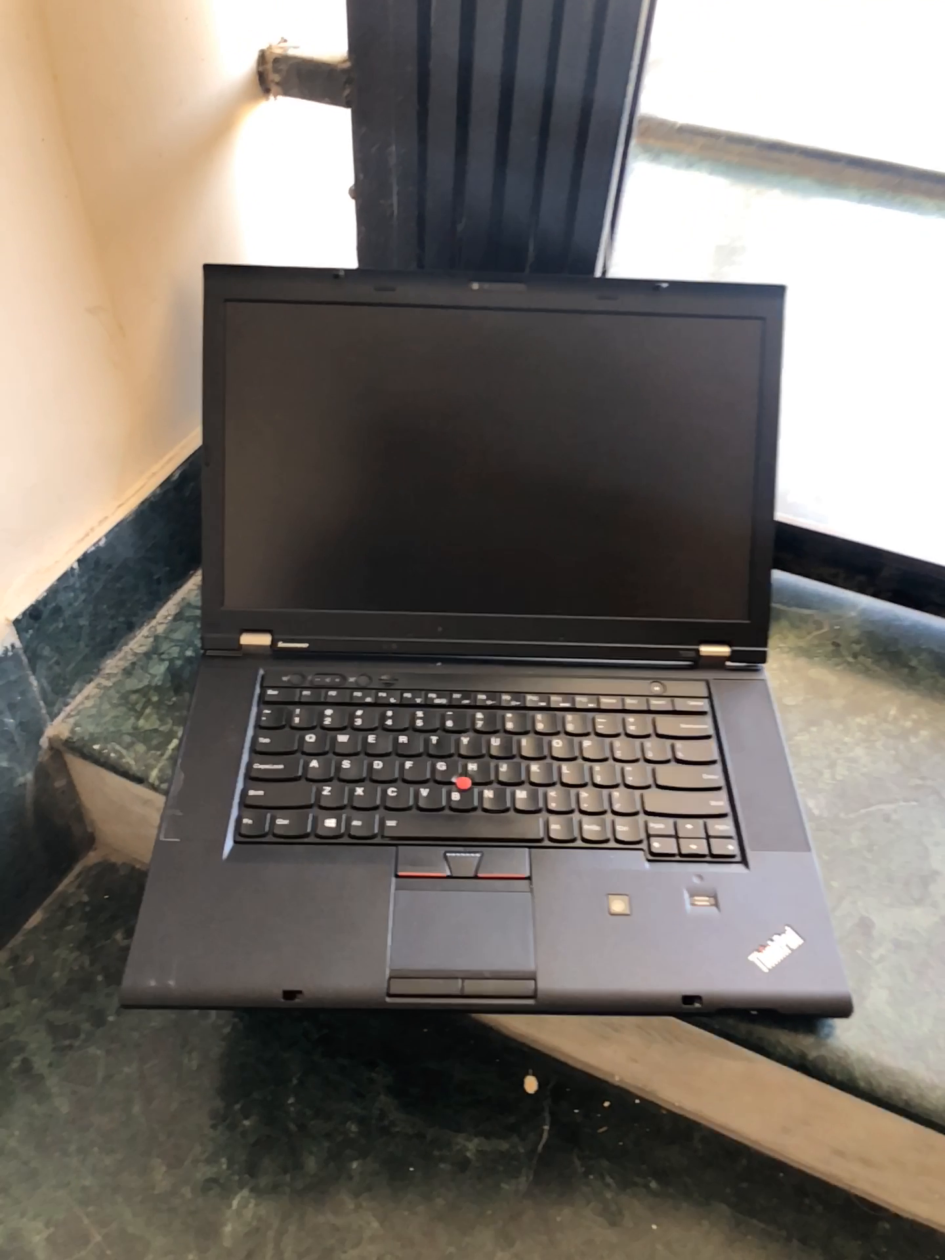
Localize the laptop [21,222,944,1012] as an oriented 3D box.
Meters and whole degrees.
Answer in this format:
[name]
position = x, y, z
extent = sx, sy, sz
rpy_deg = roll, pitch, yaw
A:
[laptop]
position = 0.011, -0.030, 0.571
extent = 0.359, 0.181, 0.390
rpy_deg = 2, 48, -2
